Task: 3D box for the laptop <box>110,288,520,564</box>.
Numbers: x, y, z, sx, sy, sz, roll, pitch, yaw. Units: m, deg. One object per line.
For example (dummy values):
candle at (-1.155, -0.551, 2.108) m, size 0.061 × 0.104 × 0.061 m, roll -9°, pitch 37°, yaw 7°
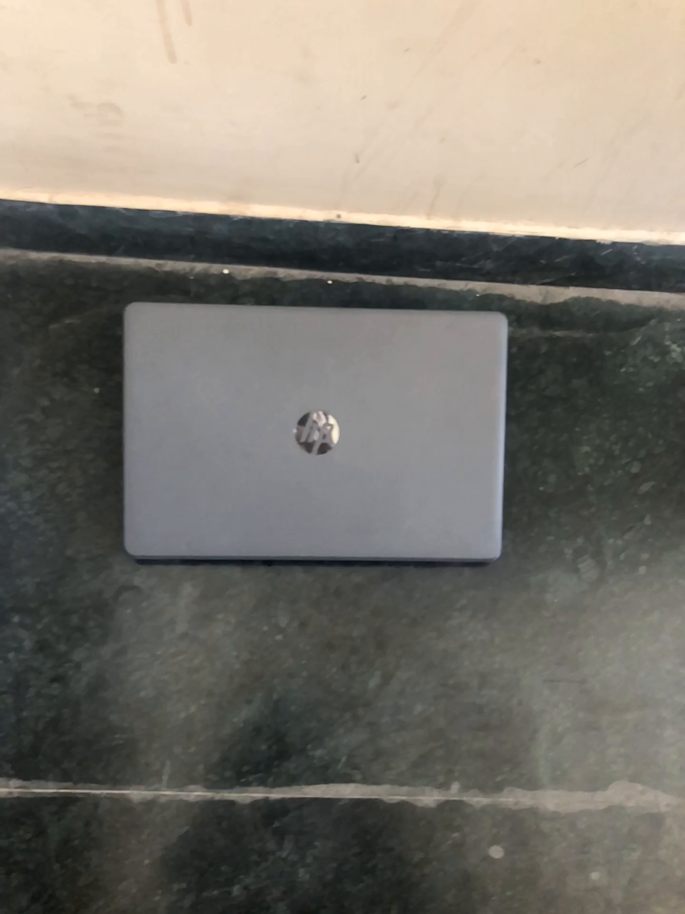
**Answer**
laptop at (-0.023, -0.026, 0.733) m, size 0.357 × 0.092 × 0.243 m, roll 1°, pitch 74°, yaw -3°
